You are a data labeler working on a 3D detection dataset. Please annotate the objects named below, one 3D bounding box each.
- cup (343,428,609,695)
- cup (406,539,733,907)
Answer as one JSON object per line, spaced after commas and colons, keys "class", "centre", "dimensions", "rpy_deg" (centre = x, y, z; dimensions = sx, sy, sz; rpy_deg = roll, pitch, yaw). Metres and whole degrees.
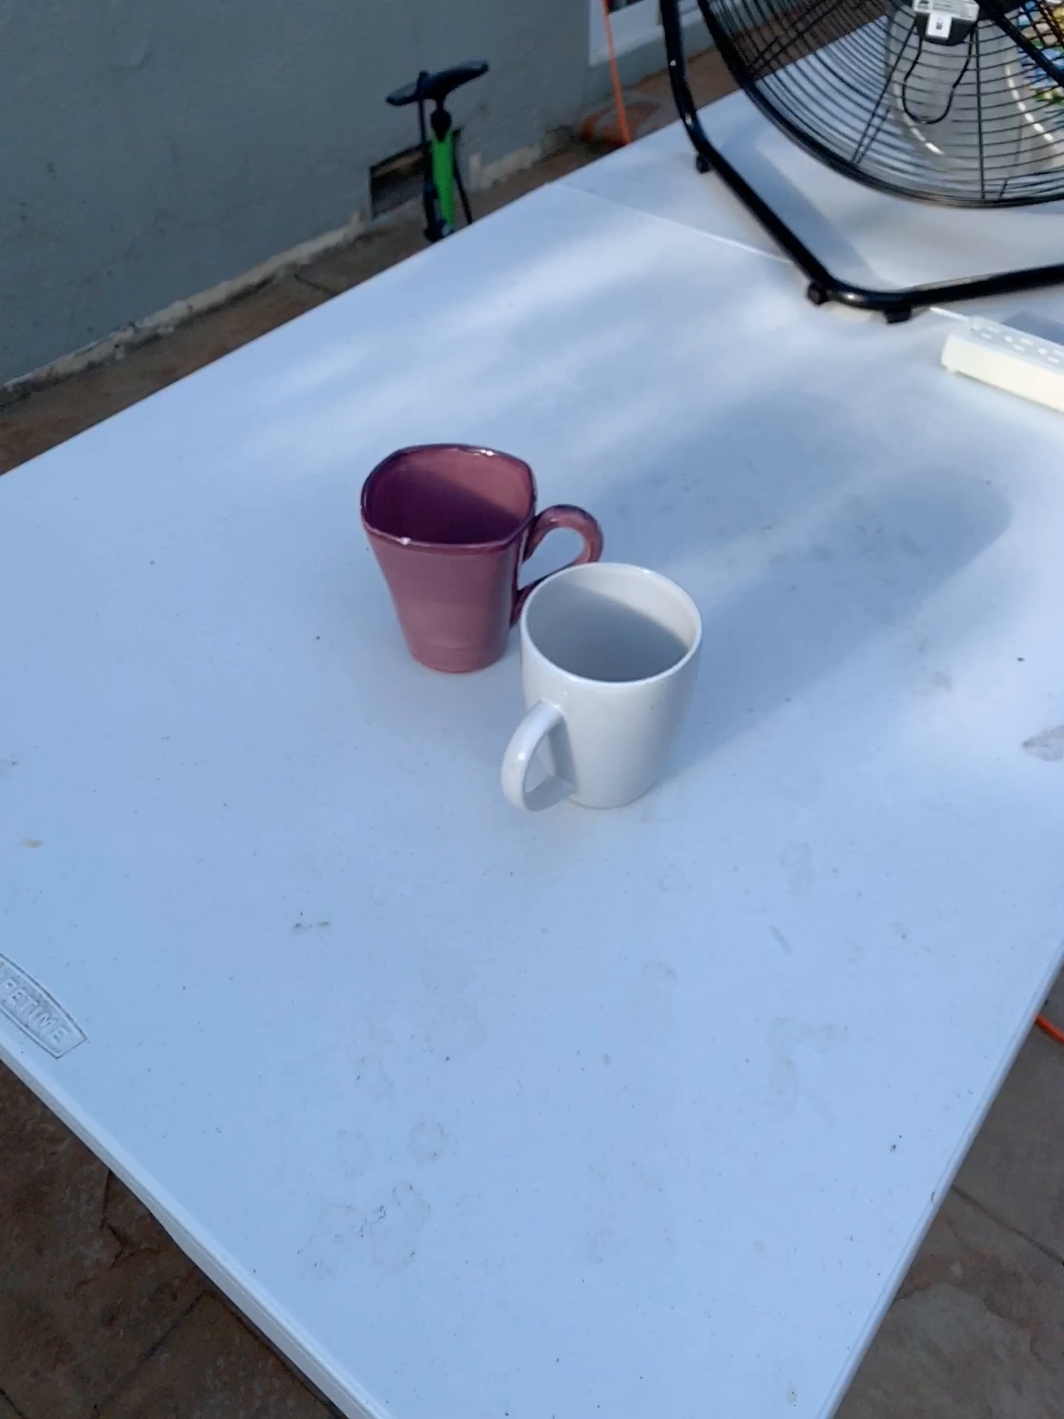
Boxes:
{"class": "cup", "centre": [-0.027, -0.089, 0.656], "dimensions": [0.140, 0.109, 0.111], "rpy_deg": [2, 46, 2]}
{"class": "cup", "centre": [0.022, 0.003, 0.582], "dimensions": [0.090, 0.099, 0.150], "rpy_deg": [30, 53, 26]}
